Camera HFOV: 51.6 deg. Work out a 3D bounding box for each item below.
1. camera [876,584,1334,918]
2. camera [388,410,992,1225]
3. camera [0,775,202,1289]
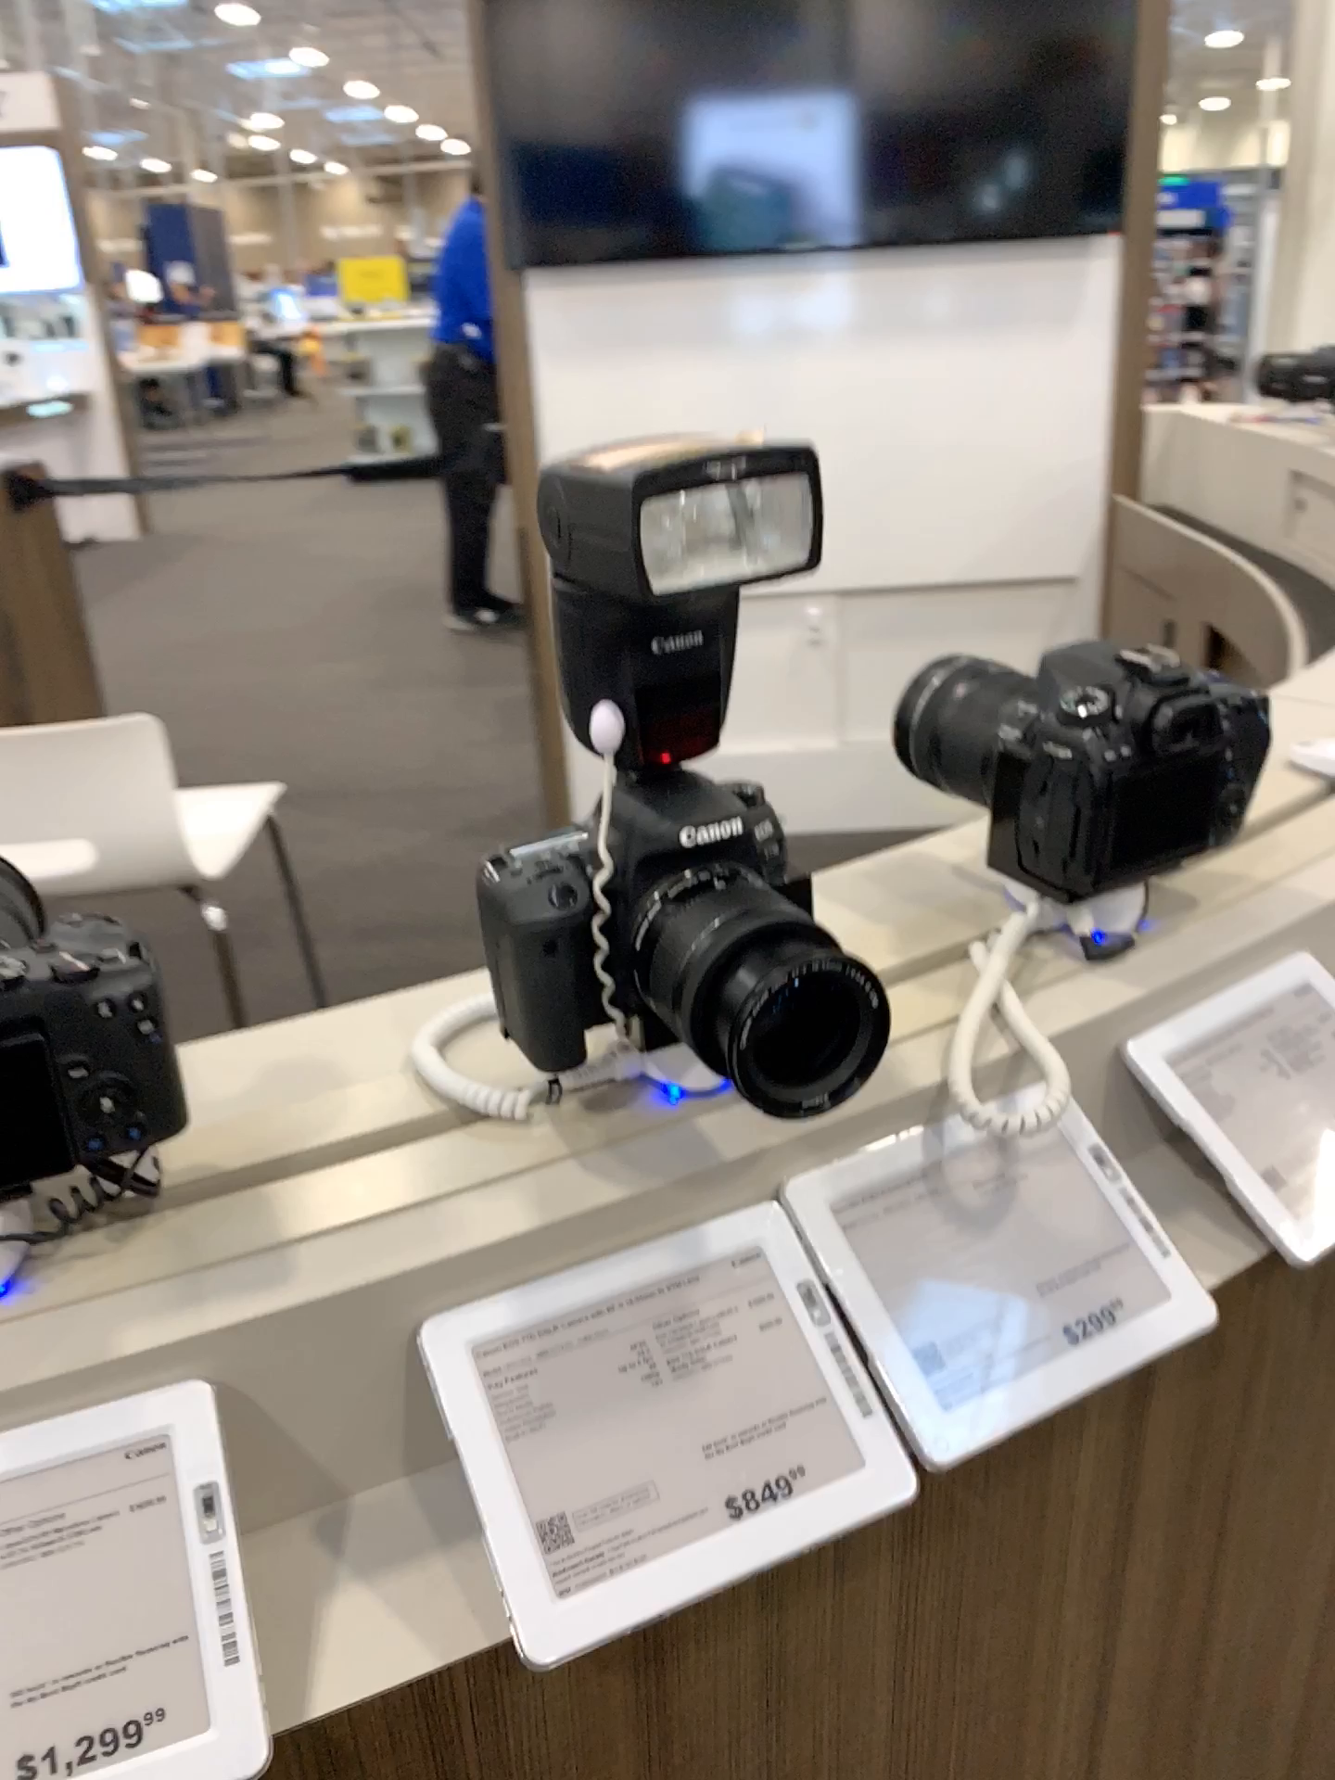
[{"bbox_3d":[0.212,-0.079,0.695,0.140,0.103,0.166,-15,26,-24],"label":"camera"},{"bbox_3d":[0.003,-0.042,0.507,0.140,0.232,0.177,-13,25,-21],"label":"camera"},{"bbox_3d":[-0.271,0.041,0.532,0.140,0.103,0.166,-13,26,-21],"label":"camera"}]
